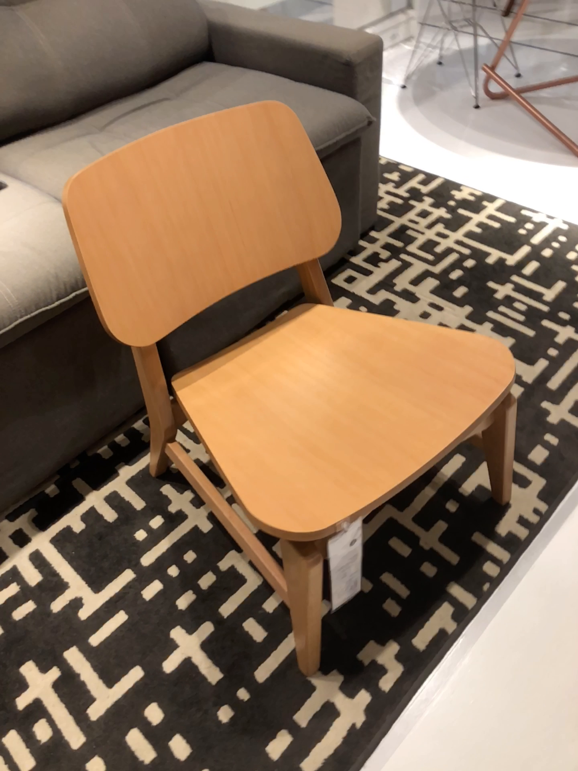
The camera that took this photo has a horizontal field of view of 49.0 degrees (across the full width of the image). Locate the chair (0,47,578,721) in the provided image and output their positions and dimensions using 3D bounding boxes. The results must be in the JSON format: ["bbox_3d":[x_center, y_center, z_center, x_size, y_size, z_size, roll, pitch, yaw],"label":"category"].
[{"bbox_3d":[0.057,-0.056,1.029,0.642,0.625,0.653,-33,51,-25],"label":"chair"}]
